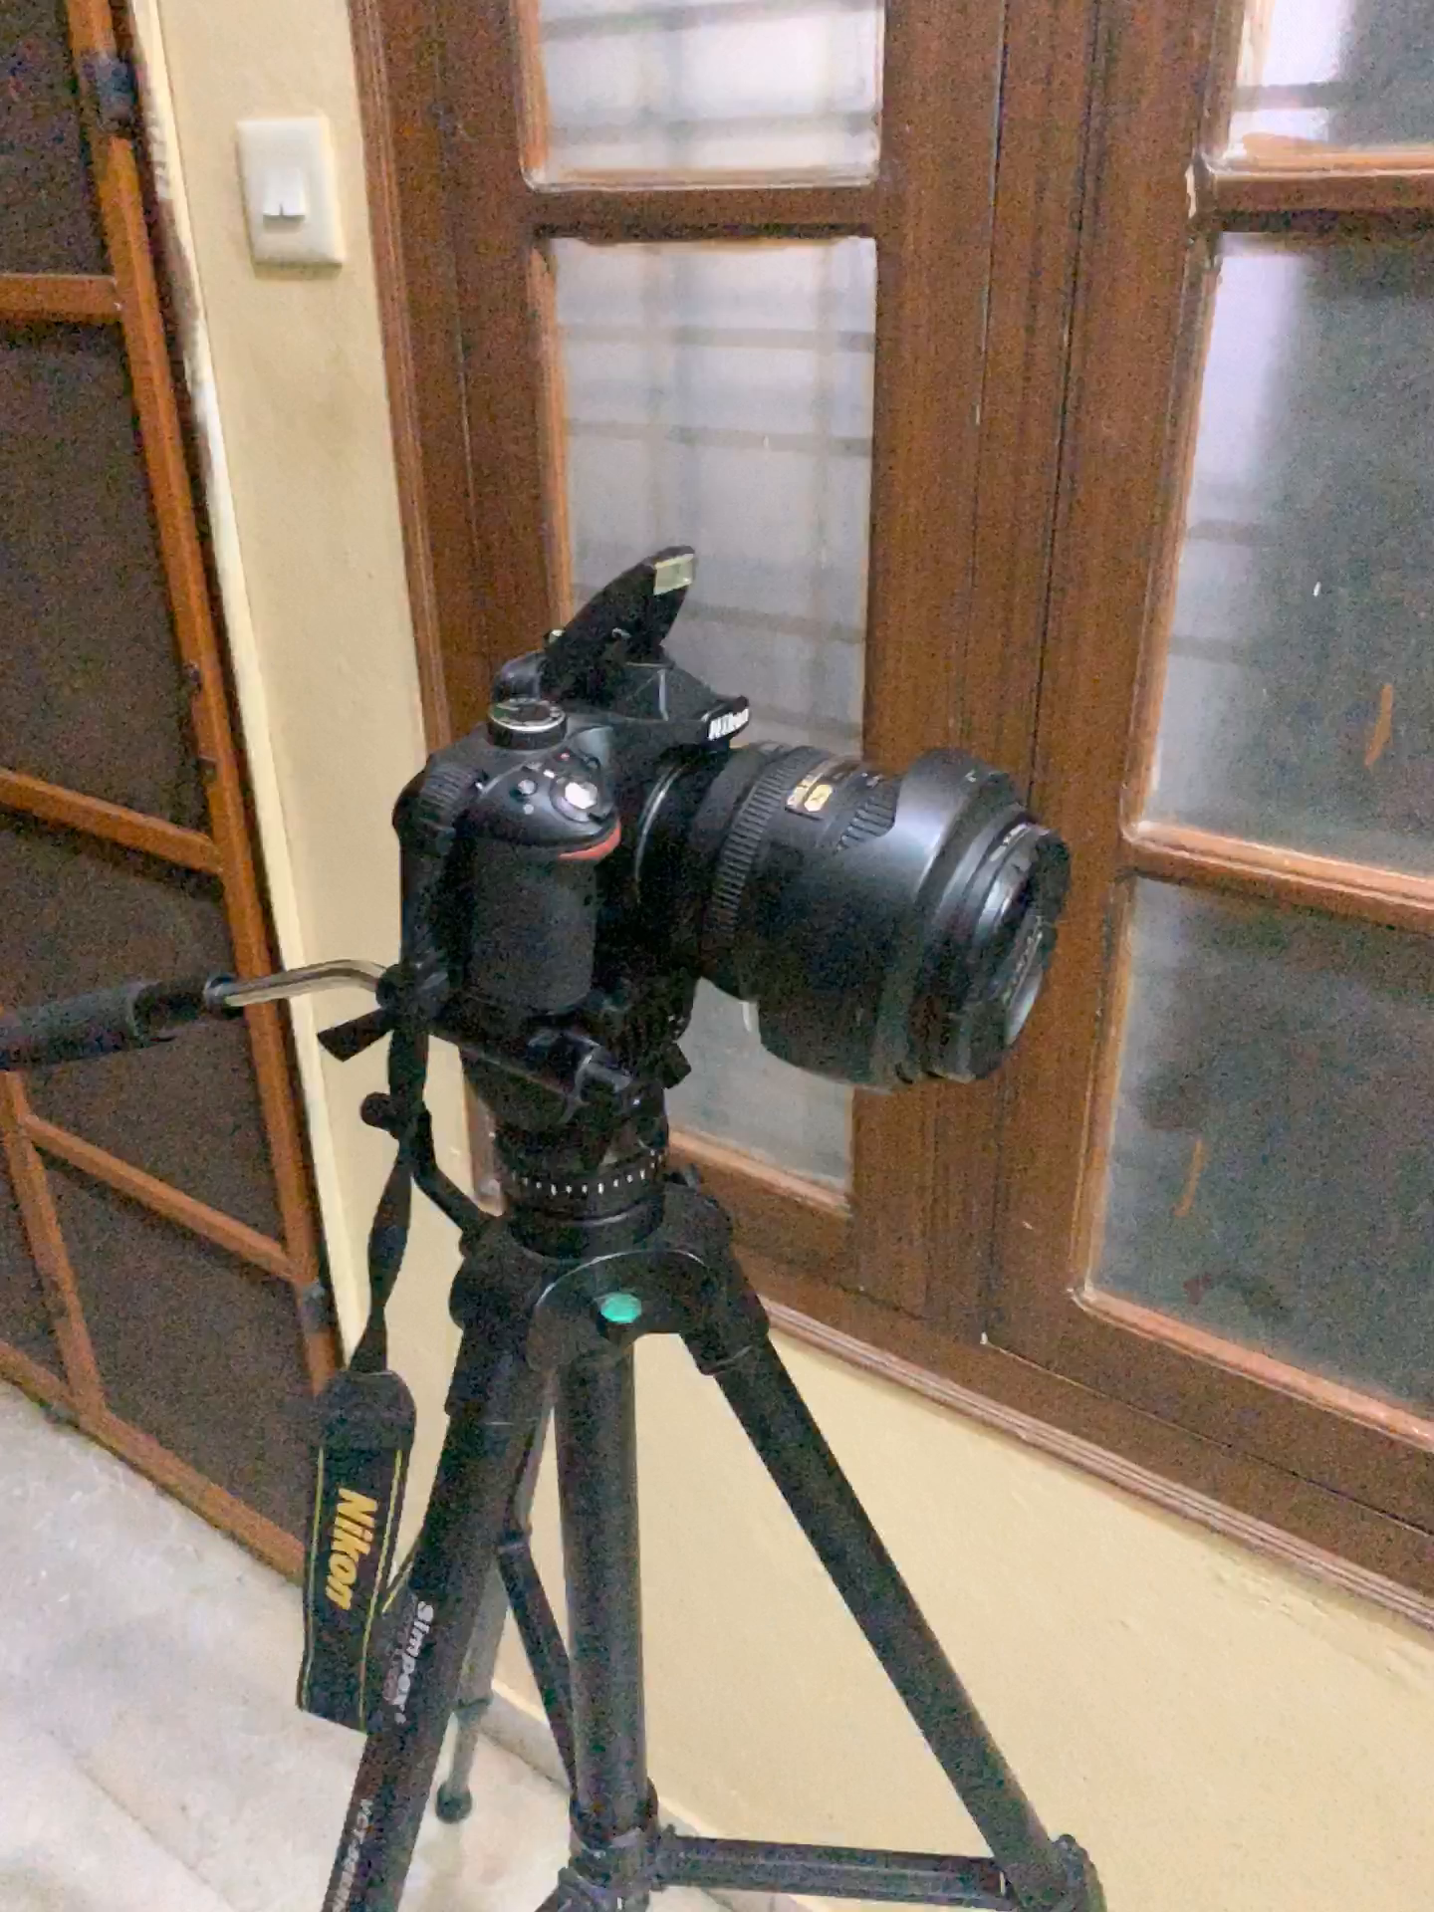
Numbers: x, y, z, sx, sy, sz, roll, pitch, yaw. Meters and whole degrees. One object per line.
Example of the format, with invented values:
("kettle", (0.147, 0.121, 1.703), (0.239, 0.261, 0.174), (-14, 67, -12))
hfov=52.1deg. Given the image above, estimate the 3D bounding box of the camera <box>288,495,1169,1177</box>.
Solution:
("camera", (0.007, -0.054, 0.442), (0.200, 0.128, 0.150), (15, 30, 28))
